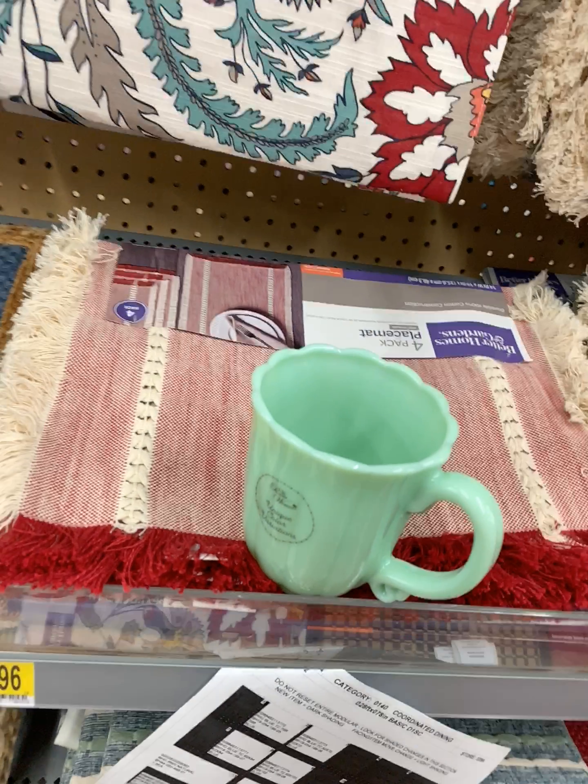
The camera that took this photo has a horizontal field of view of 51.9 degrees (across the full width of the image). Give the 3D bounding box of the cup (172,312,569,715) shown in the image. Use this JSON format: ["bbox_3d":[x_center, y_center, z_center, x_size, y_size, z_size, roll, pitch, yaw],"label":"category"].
[{"bbox_3d":[0.027,0.041,0.268,0.130,0.090,0.090,31,37,28],"label":"cup"}]
